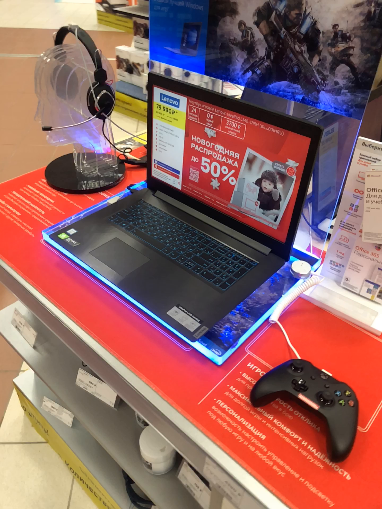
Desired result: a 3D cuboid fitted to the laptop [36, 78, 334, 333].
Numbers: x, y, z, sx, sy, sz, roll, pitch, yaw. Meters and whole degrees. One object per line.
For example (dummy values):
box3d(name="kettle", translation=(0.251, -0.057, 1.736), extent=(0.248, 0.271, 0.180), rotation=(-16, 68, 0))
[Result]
box3d(name="laptop", translation=(-0.027, -0.126, 0.786), extent=(0.404, 0.255, 0.295), rotation=(30, 48, 33))
